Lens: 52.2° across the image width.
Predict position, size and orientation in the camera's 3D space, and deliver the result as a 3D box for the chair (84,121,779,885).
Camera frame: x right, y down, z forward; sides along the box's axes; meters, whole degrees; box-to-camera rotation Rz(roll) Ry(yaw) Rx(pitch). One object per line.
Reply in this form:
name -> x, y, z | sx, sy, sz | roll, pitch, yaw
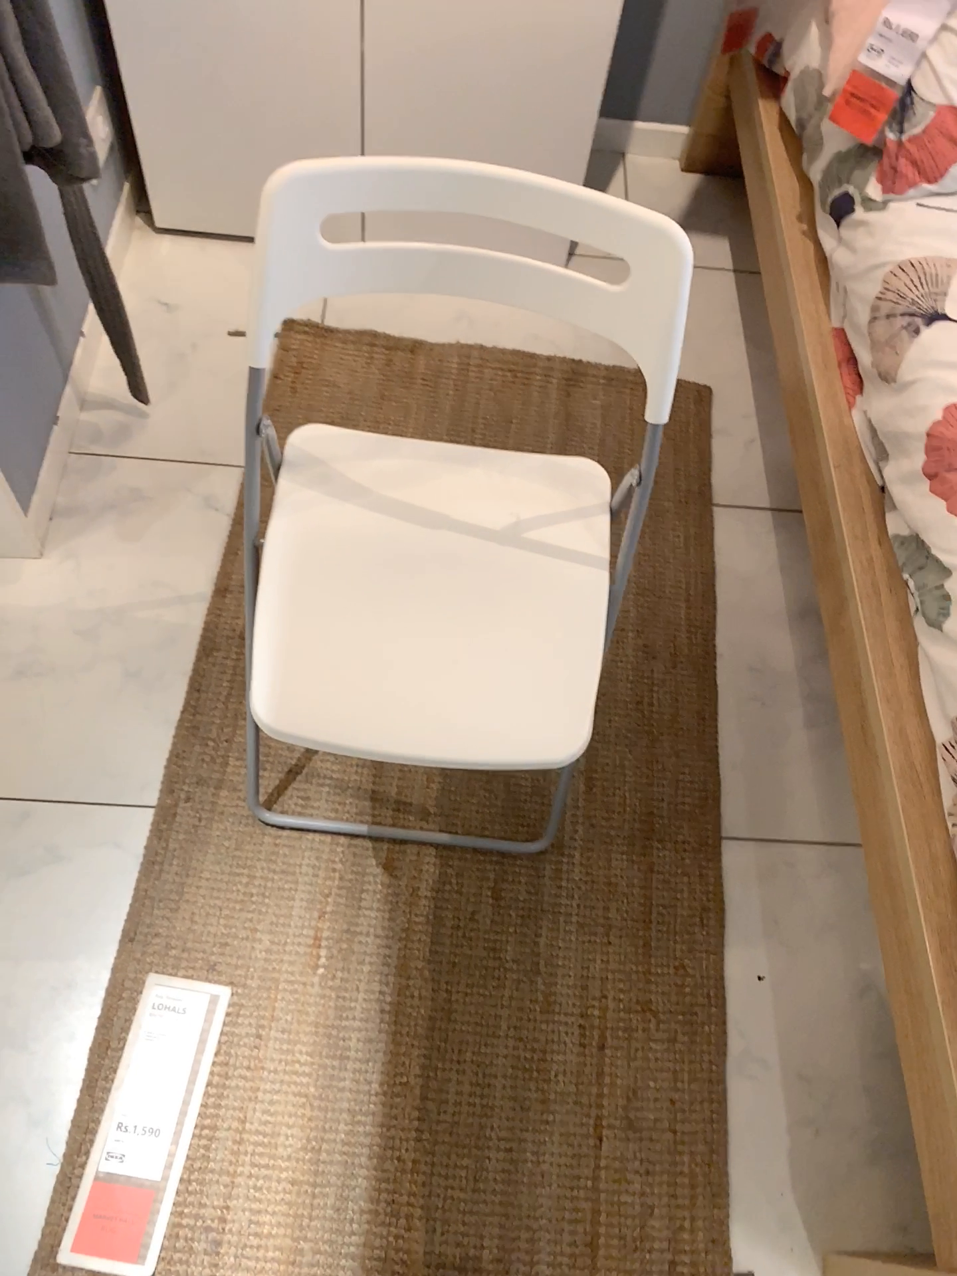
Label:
chair -> -0.037, -0.066, 1.021 | 0.450, 0.659, 0.431 | 7, 61, -2
